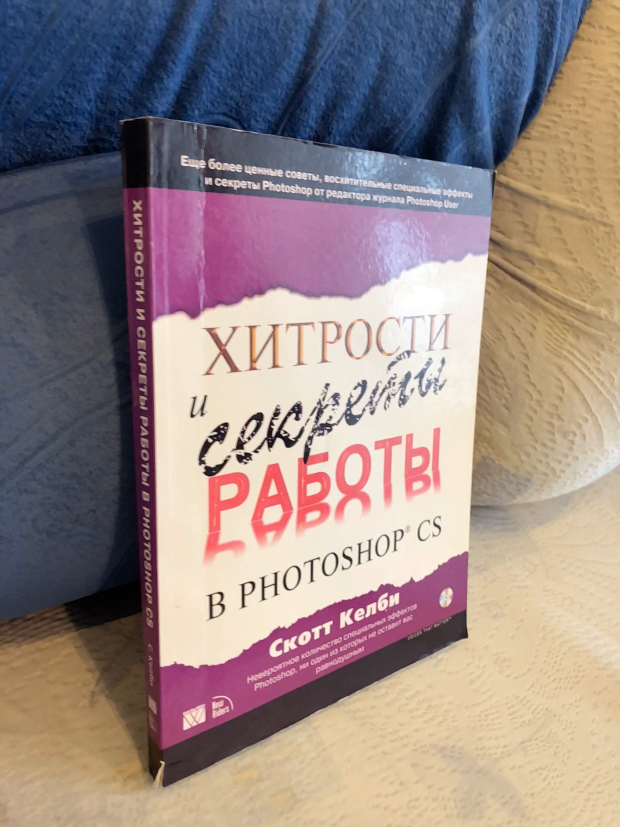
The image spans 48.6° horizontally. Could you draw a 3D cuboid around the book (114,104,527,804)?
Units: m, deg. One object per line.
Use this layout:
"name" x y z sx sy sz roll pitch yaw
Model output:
"book" 0.017 0.014 0.330 0.209 0.271 0.030 -9 17 -38
